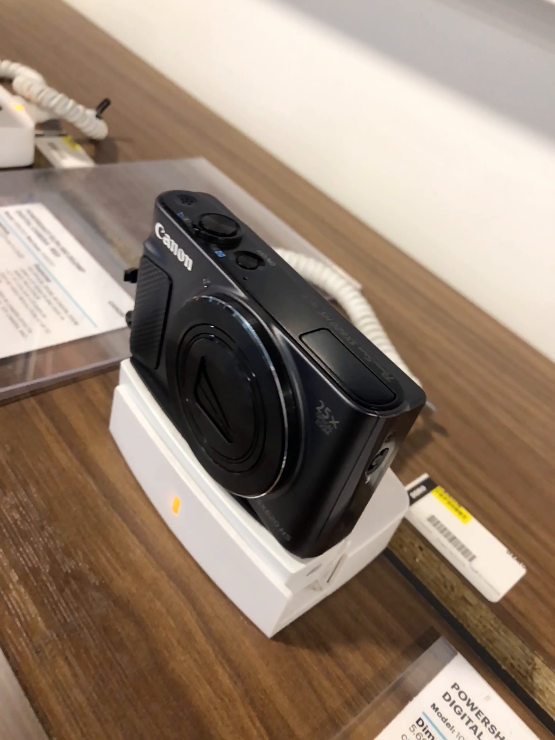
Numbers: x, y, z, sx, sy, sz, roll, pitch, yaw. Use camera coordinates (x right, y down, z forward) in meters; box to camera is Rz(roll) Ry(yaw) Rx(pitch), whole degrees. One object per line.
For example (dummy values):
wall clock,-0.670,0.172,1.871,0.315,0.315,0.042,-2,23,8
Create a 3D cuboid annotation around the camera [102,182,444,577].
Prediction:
camera,-0.010,-0.003,0.181,0.030,0.060,0.100,-16,50,-39
